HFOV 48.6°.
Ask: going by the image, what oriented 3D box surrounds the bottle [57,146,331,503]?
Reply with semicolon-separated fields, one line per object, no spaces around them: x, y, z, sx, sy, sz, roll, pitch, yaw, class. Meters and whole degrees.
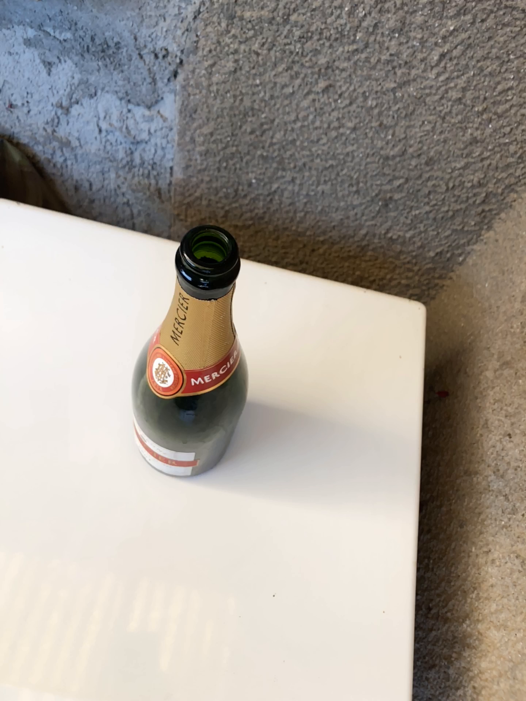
-0.056;0.012;0.409;0.090;0.289;0.100;-33;75;-22;bottle
